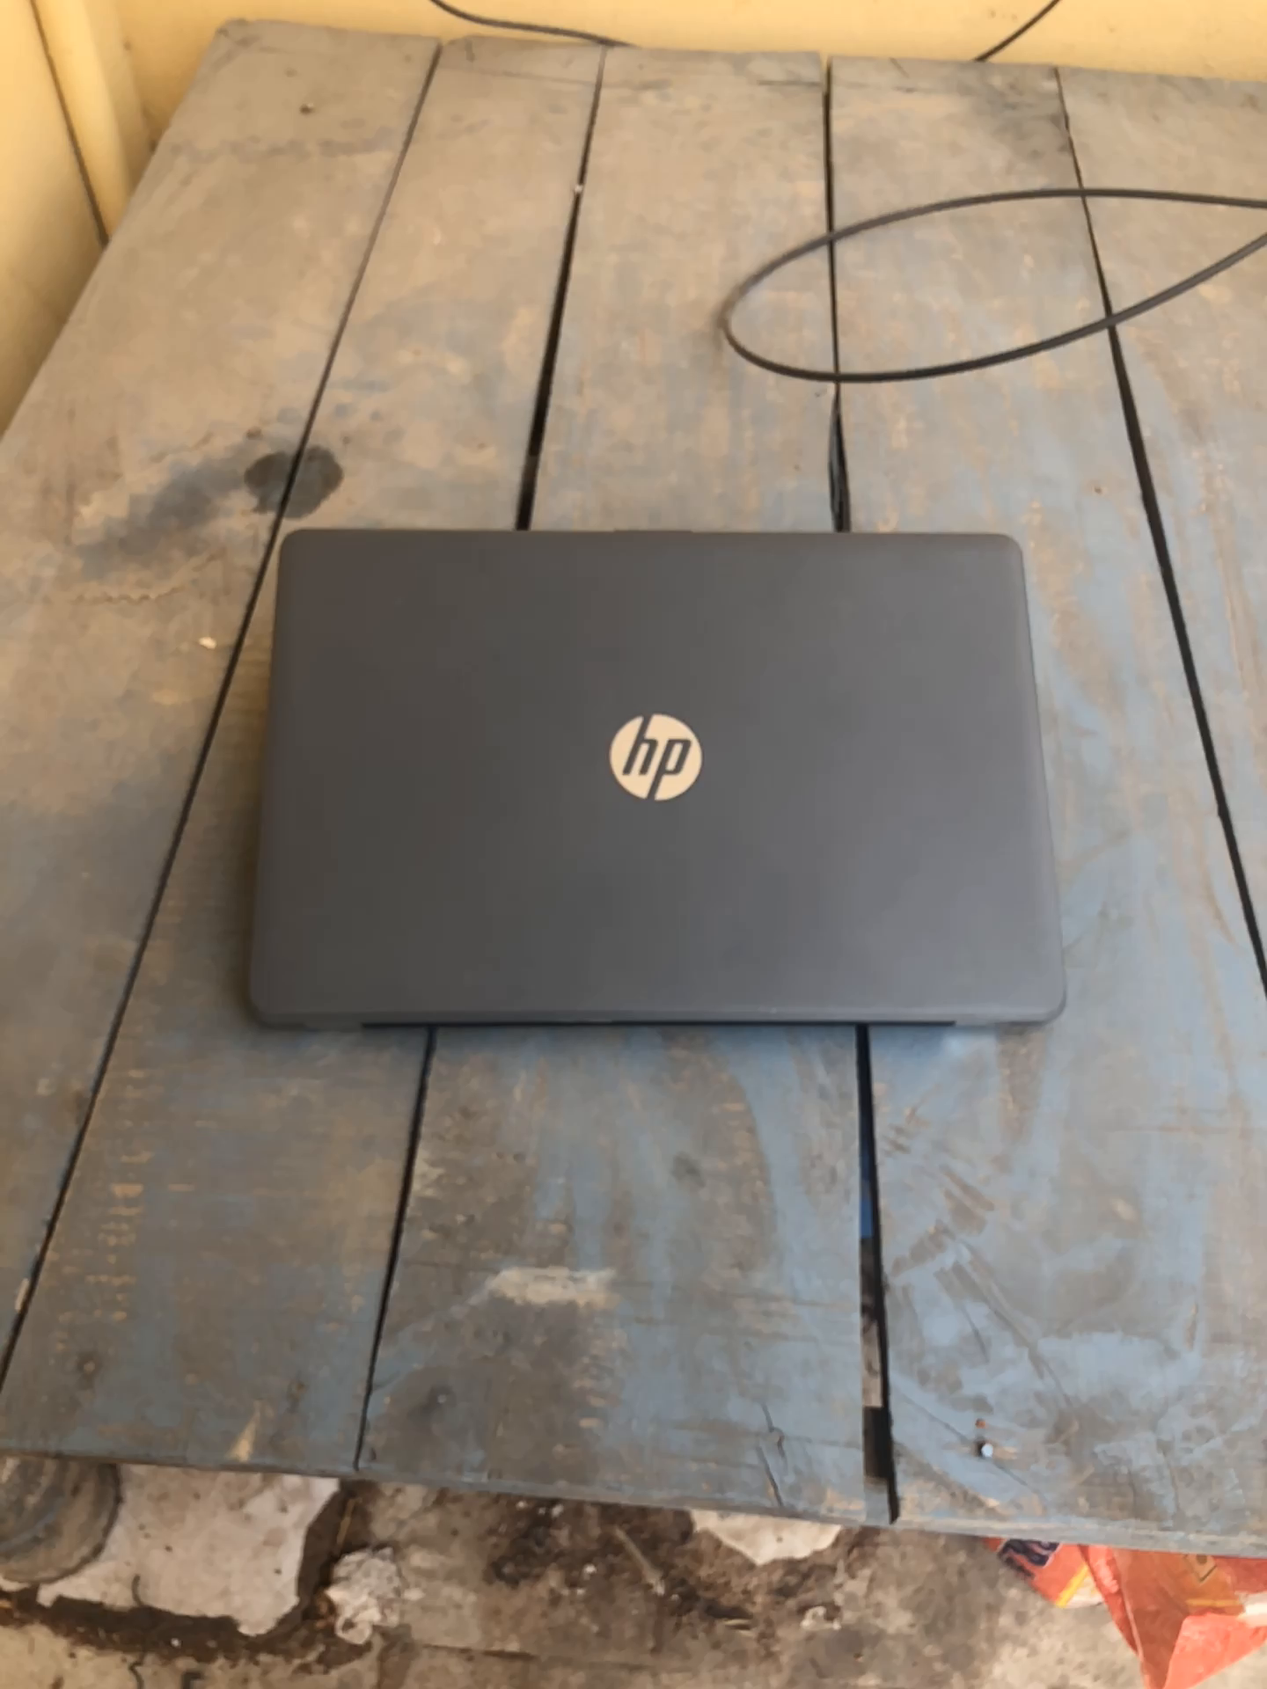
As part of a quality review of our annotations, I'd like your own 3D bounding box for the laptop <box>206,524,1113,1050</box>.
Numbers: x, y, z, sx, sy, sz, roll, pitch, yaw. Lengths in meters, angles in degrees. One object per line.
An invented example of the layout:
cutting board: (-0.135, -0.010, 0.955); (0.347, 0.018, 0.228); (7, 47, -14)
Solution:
laptop: (0.009, -0.034, 0.672); (0.361, 0.096, 0.244); (0, 53, -1)
